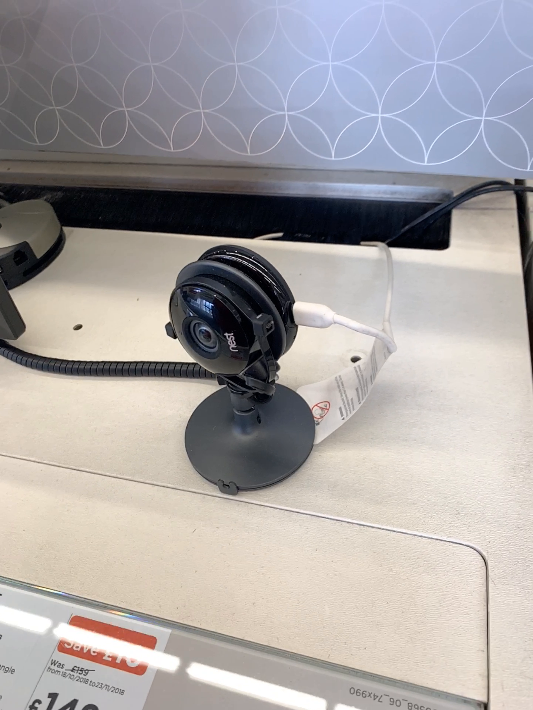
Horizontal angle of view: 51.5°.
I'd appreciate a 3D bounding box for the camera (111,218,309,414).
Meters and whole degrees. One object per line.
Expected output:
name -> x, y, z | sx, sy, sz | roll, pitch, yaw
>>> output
camera -> -0.021, -0.019, 0.238 | 0.060, 0.050, 0.050 | 22, 50, 28
